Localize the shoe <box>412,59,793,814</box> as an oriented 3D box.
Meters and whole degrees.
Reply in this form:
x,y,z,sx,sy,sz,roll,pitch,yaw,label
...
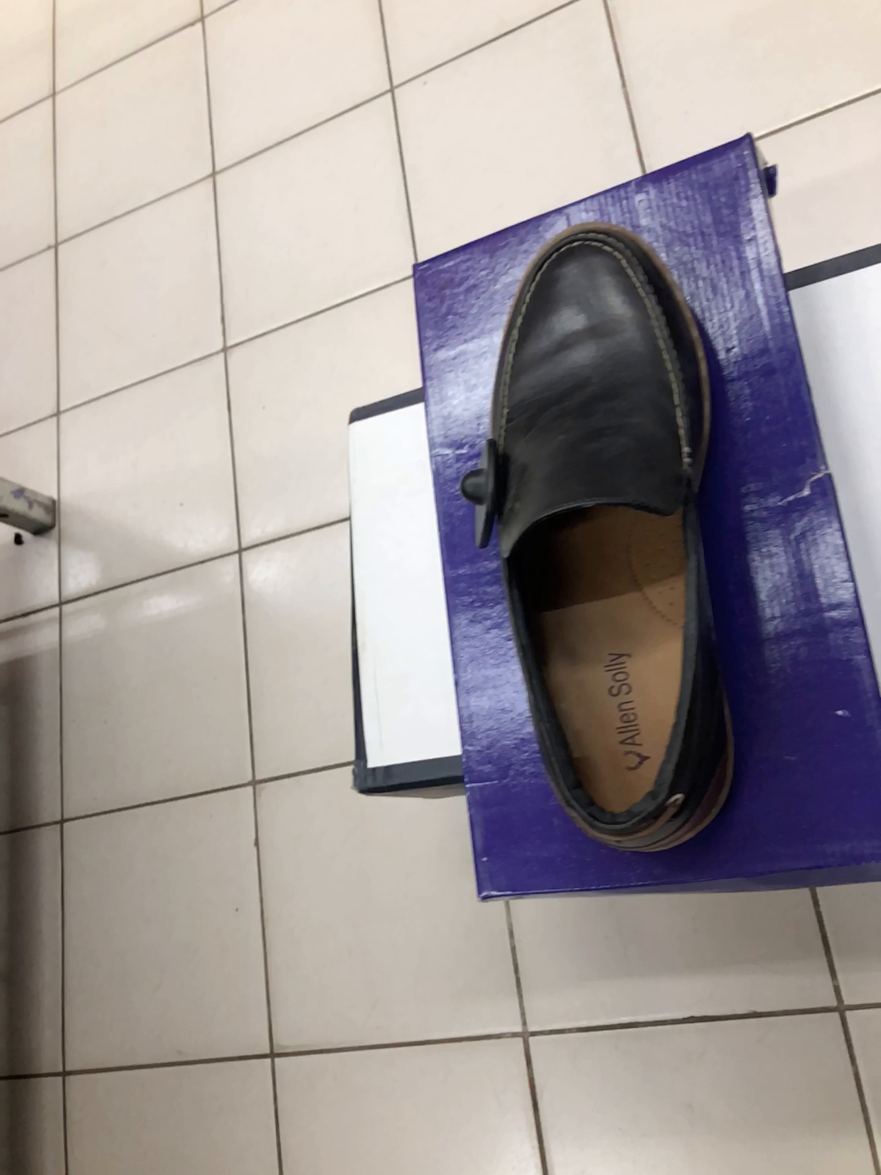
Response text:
x,y,z,sx,sy,sz,roll,pitch,yaw,label
0.070,-0.059,0.436,0.100,0.110,0.301,-13,72,22,shoe
